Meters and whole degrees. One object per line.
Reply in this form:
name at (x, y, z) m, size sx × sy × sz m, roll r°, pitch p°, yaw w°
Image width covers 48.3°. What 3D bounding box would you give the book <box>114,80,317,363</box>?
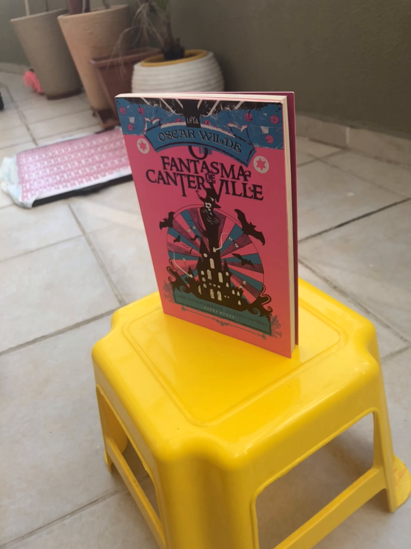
book at (0.013, -0.038, 0.371) m, size 0.150 × 0.218 × 0.020 m, roll 15°, pitch 40°, yaw 34°
